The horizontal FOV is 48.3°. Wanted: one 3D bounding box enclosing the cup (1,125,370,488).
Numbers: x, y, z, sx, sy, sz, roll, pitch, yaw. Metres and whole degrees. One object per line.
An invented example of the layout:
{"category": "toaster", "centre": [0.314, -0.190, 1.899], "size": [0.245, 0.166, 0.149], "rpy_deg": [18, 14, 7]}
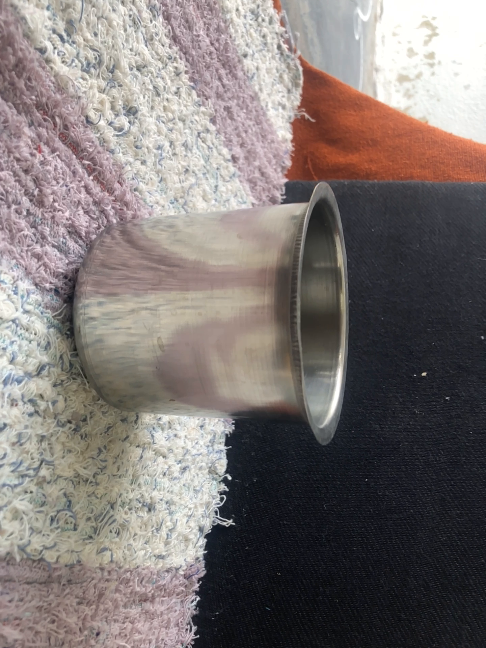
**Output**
{"category": "cup", "centre": [-0.008, -0.004, 0.227], "size": [0.100, 0.099, 0.100], "rpy_deg": [1, 90, -69]}
